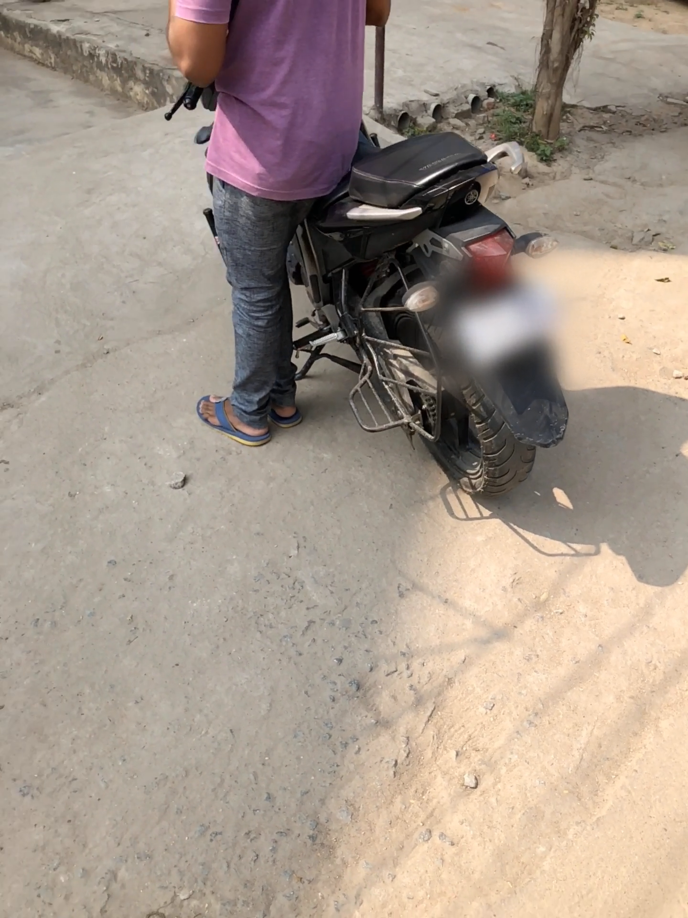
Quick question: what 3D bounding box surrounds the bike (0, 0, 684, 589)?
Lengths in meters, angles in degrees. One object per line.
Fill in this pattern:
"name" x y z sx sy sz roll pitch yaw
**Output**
"bike" -0.217 -0.680 1.921 0.685 0.959 1.690 -21 47 -23
